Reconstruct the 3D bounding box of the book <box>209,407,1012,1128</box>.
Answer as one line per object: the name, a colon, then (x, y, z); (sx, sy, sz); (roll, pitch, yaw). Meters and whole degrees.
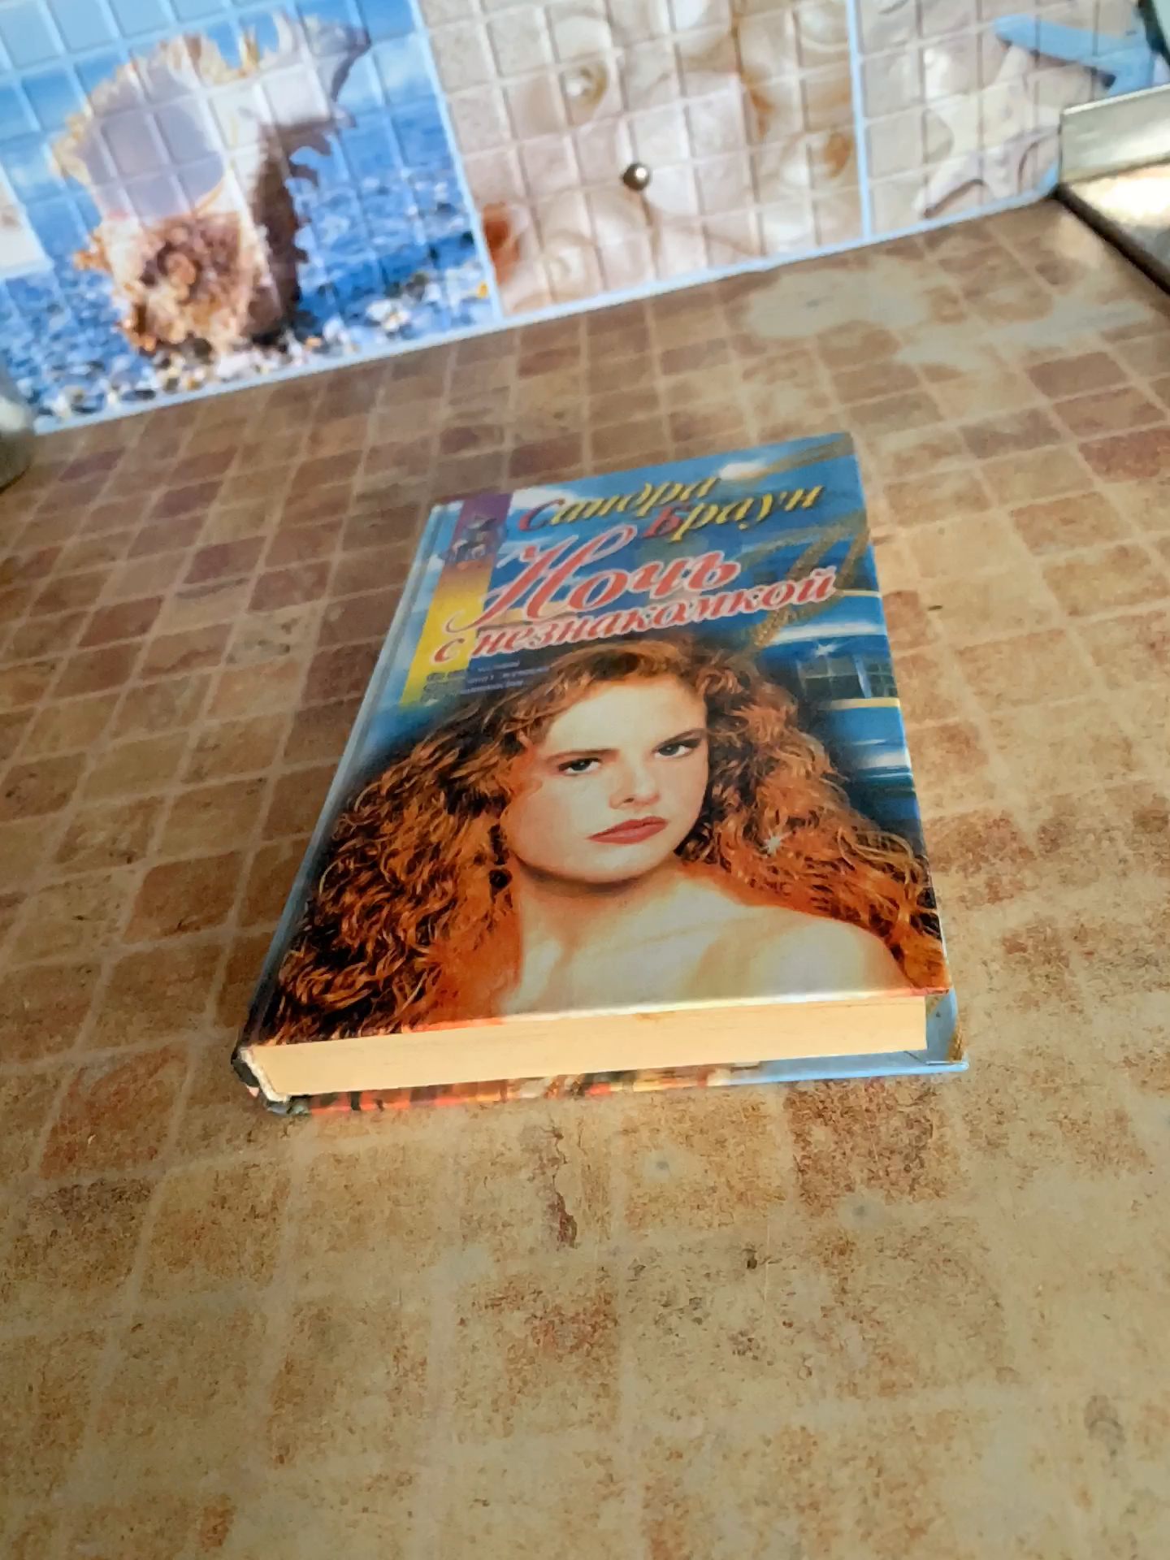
book: (0.012, -0.018, 0.276); (0.130, 0.028, 0.199); (-7, 39, 13)
